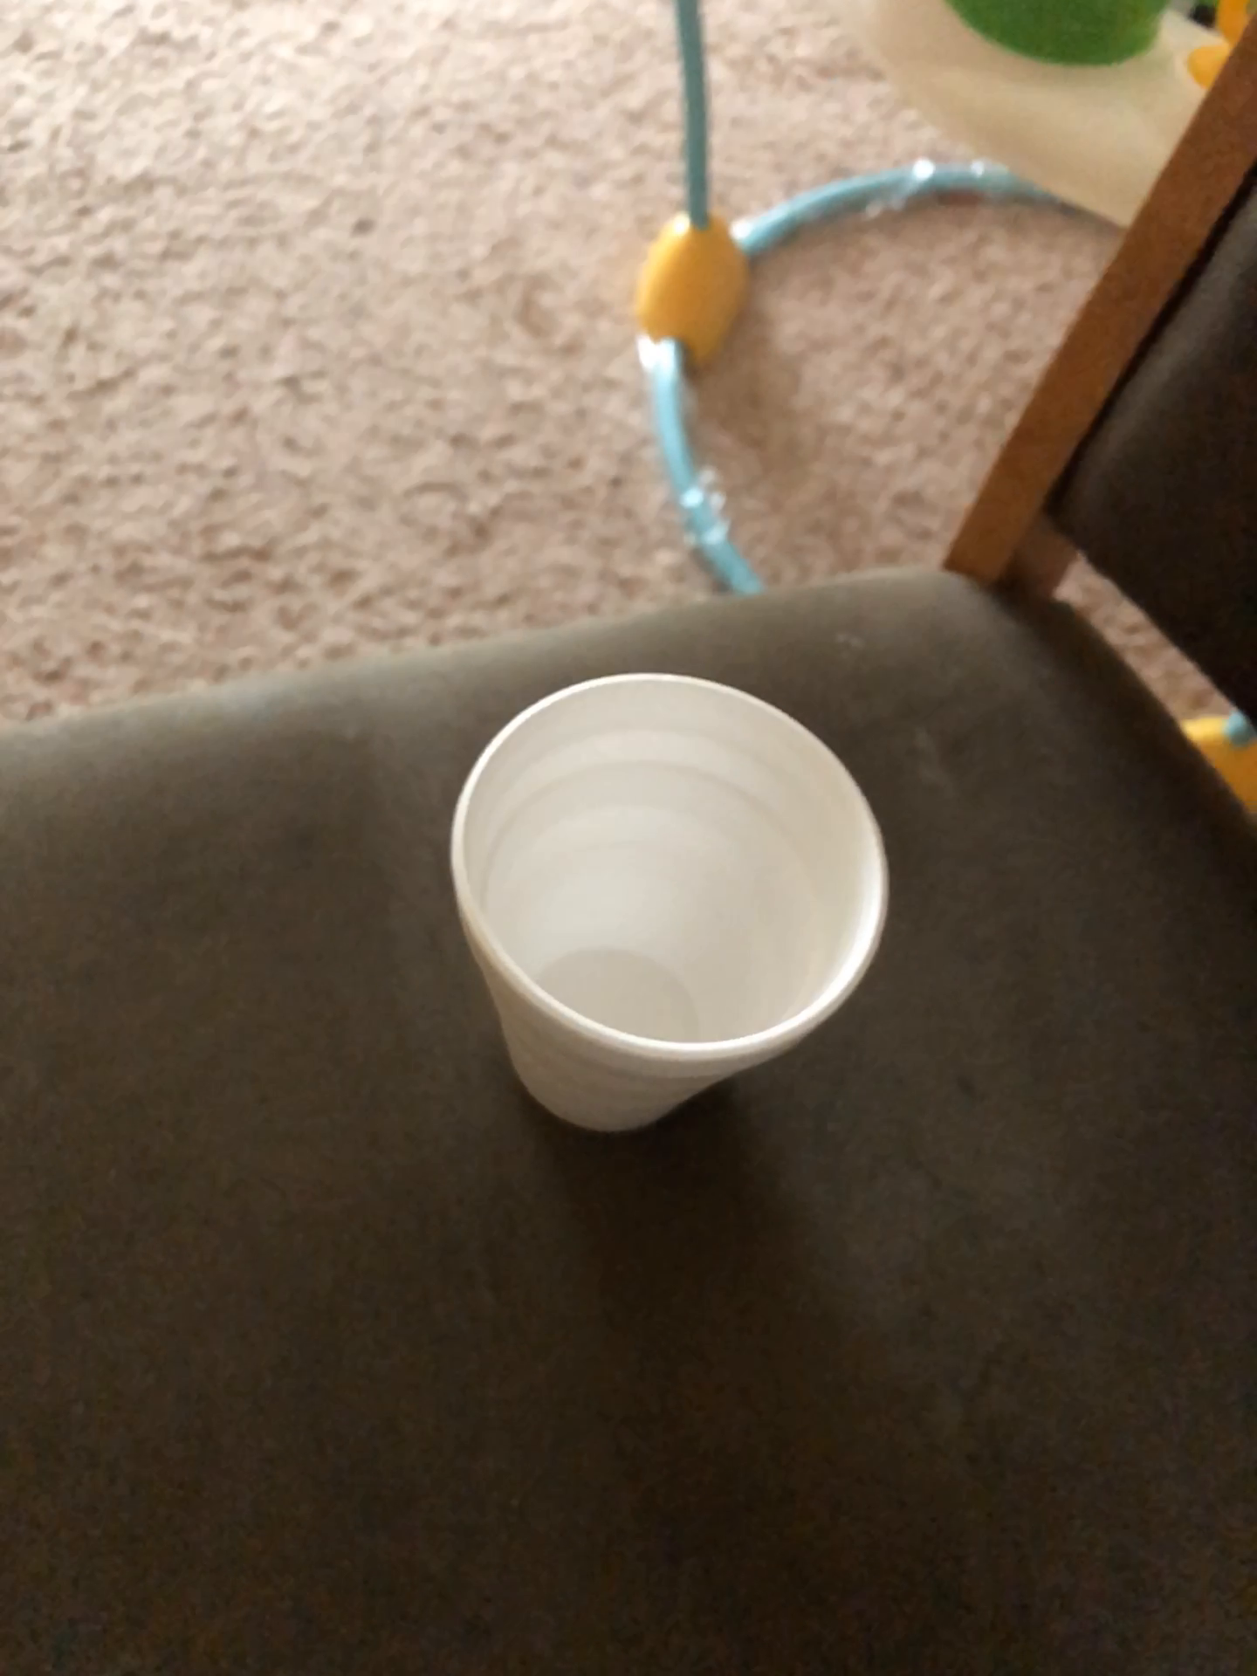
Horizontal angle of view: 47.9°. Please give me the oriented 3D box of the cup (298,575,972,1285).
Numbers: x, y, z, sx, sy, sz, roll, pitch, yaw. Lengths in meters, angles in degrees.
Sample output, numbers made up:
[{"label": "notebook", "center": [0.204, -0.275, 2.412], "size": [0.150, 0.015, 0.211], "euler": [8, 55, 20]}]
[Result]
[{"label": "cup", "center": [-0.001, 0.020, 0.298], "size": [0.090, 0.080, 0.090], "euler": [3, 60, -6]}]
